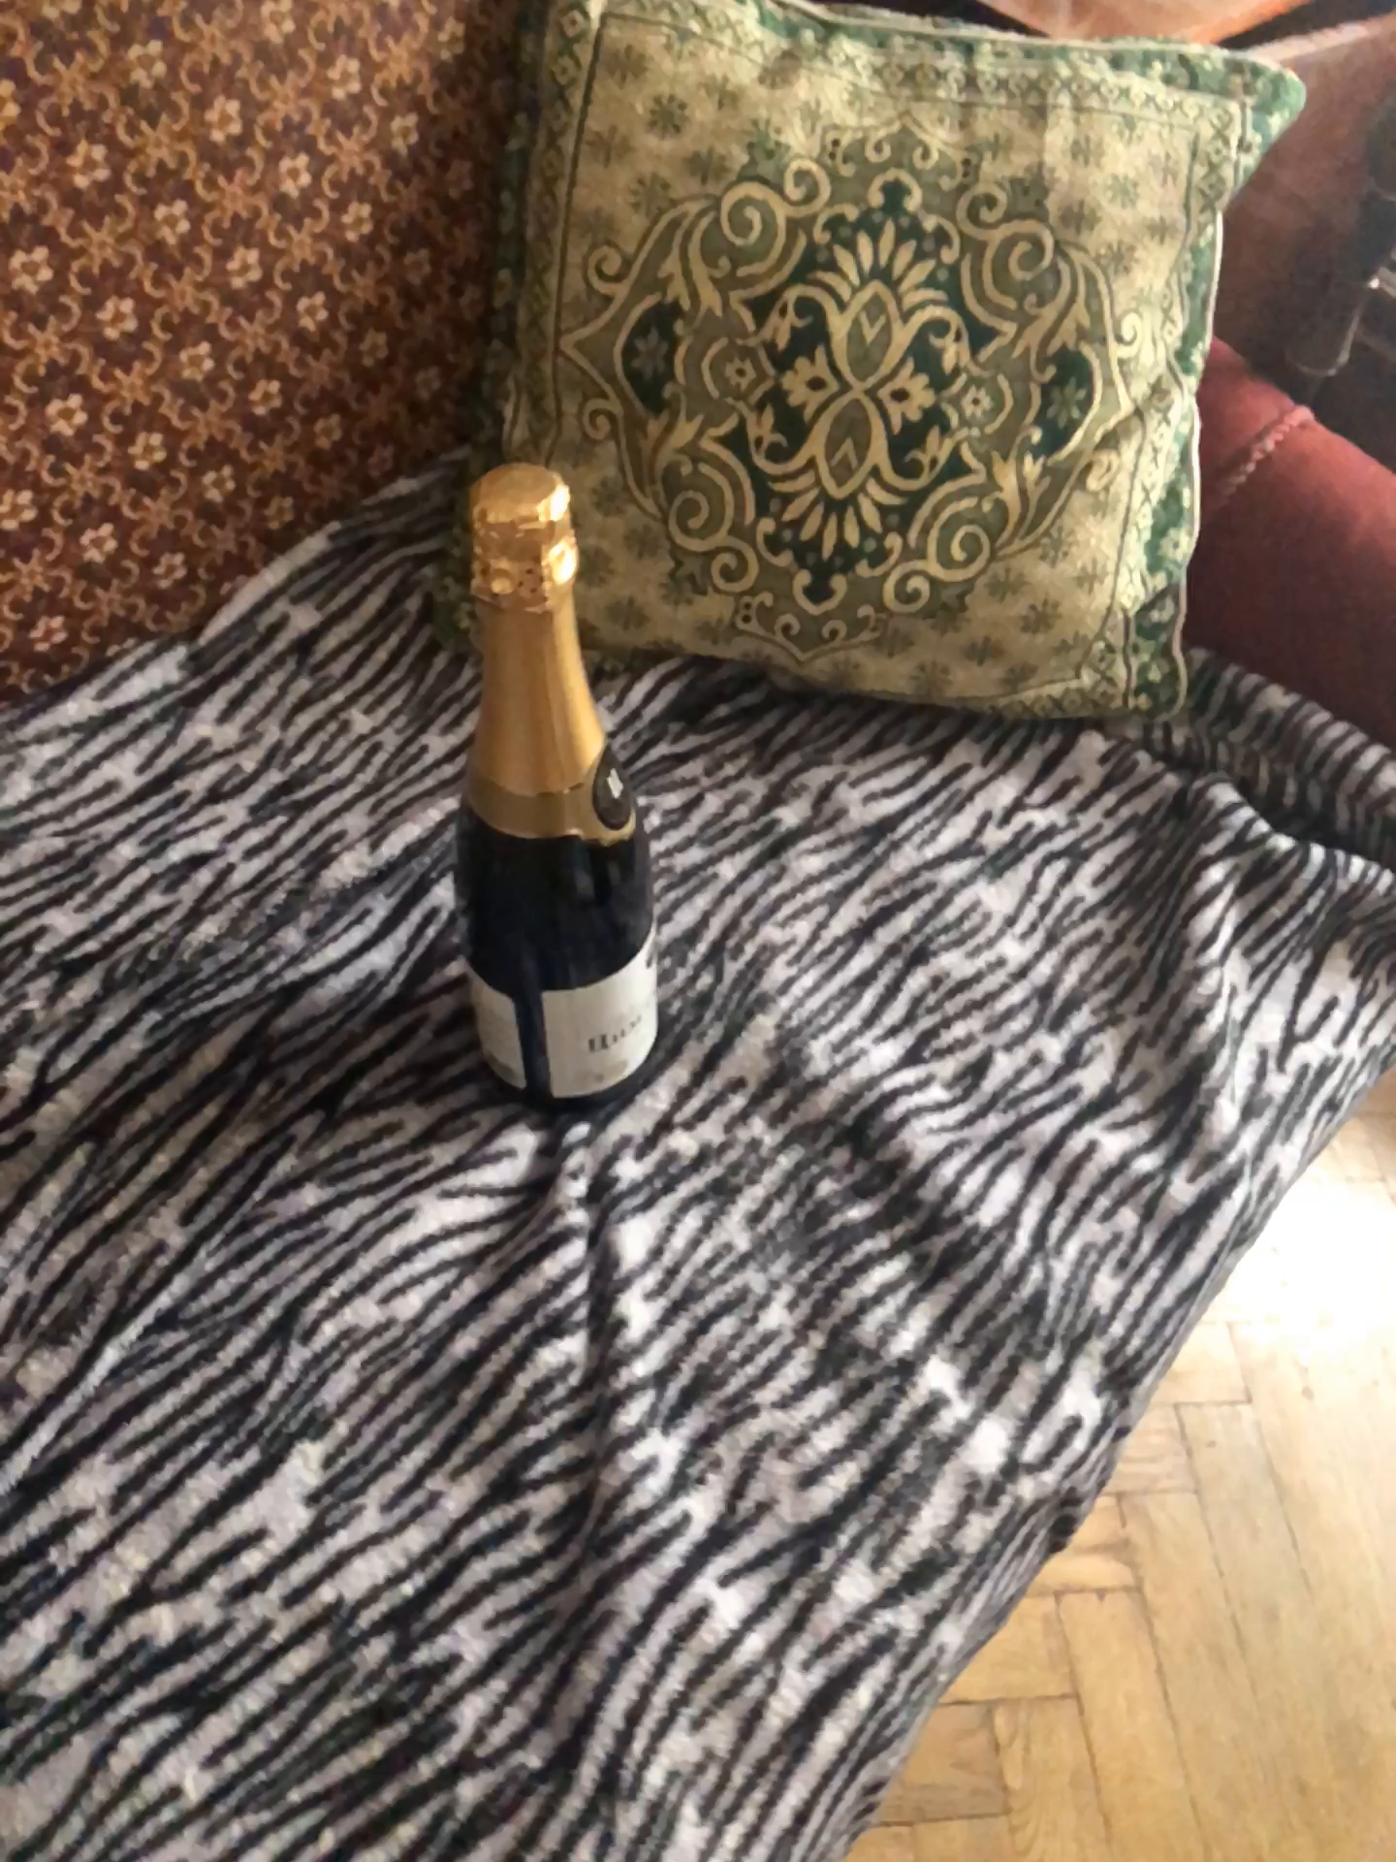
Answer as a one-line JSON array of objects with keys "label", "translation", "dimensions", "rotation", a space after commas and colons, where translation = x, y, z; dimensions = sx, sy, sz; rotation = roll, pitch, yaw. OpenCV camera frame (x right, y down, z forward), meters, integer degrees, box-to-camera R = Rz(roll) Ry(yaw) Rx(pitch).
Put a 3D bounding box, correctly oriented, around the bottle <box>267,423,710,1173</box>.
[{"label": "bottle", "translation": [-0.063, -0.032, 0.579], "dimensions": [0.100, 0.278, 0.101], "rotation": [1, 54, -1]}]
